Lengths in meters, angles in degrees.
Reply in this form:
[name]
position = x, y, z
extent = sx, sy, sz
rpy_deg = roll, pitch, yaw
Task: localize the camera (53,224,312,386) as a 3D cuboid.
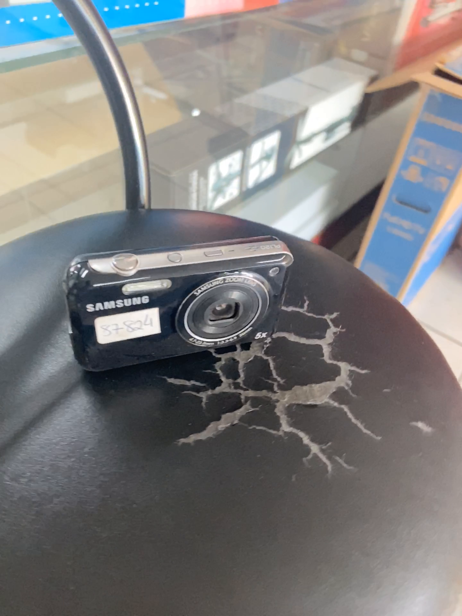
[camera]
position = -0.021, -0.003, 0.213
extent = 0.100, 0.050, 0.030
rpy_deg = -9, 47, -17
